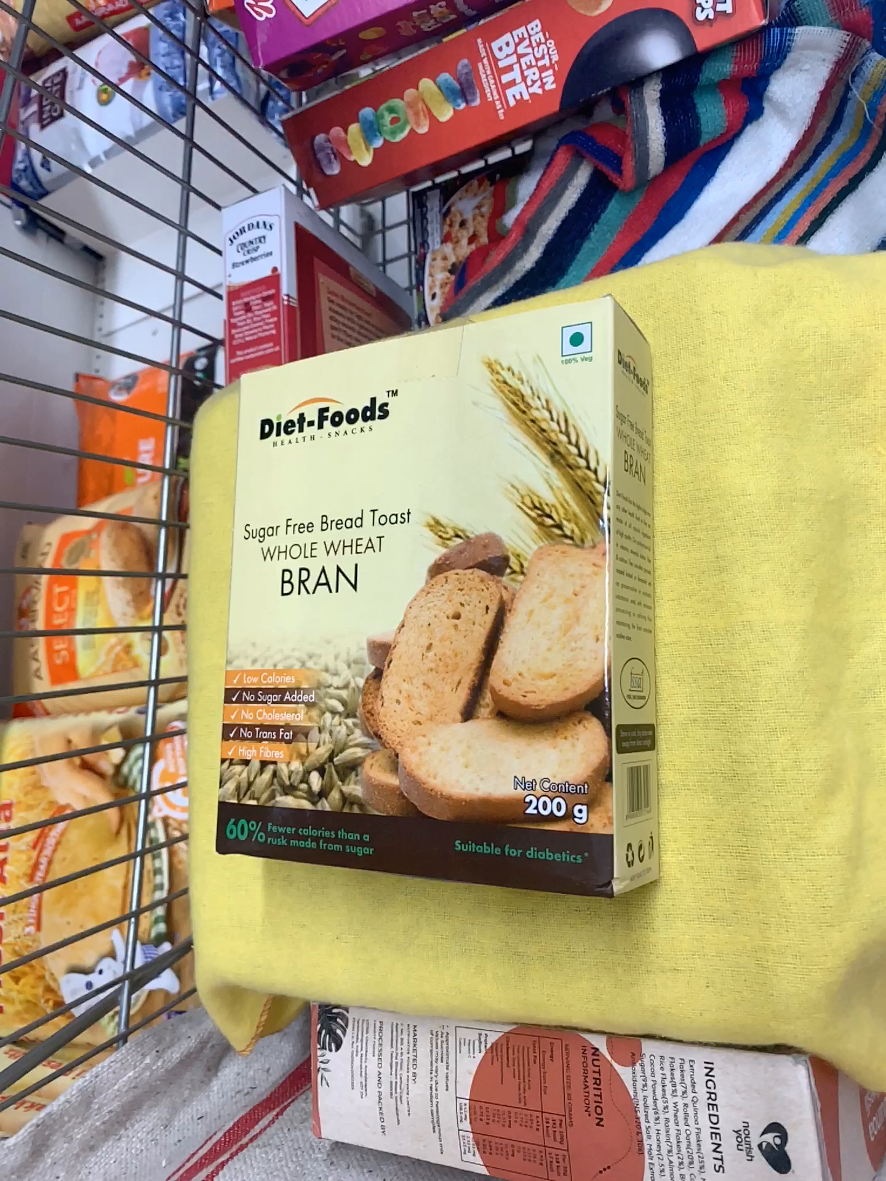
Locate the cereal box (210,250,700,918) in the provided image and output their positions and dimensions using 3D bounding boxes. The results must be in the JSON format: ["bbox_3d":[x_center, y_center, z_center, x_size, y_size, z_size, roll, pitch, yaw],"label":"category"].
[{"bbox_3d":[0.002,0.001,0.285,0.141,0.050,0.170,-3,81,30],"label":"cereal box"}]
